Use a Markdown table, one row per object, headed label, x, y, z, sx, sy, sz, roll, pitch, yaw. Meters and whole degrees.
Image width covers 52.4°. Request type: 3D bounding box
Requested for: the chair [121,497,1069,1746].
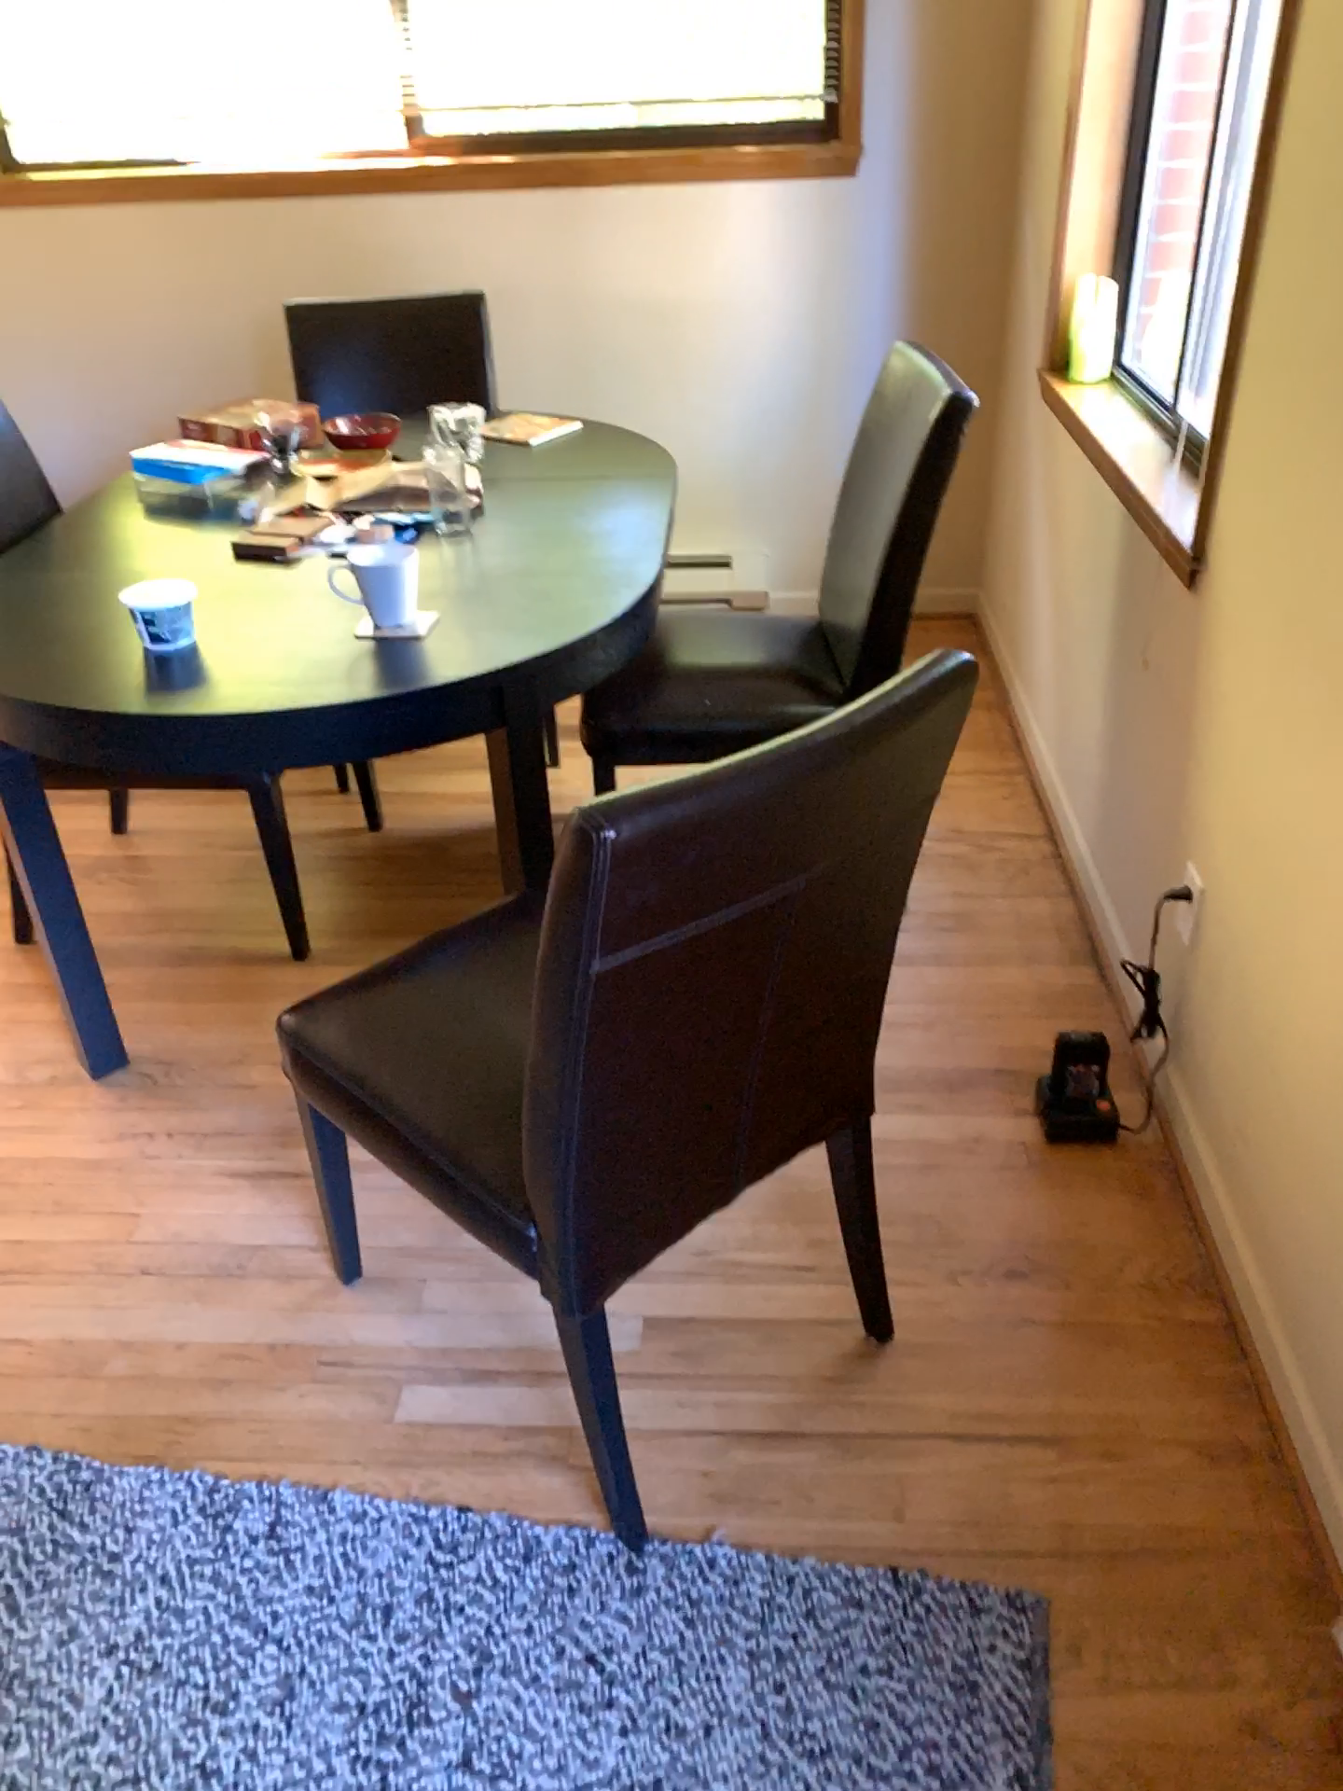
| label | x | y | z | sx | sy | sz | roll | pitch | yaw |
| --- | --- | --- | --- | --- | --- | --- | --- | --- | --- |
| chair | -0.062 | 0.214 | 1.569 | 0.621 | 1.083 | 0.653 | -28 | 39 | -34 |
